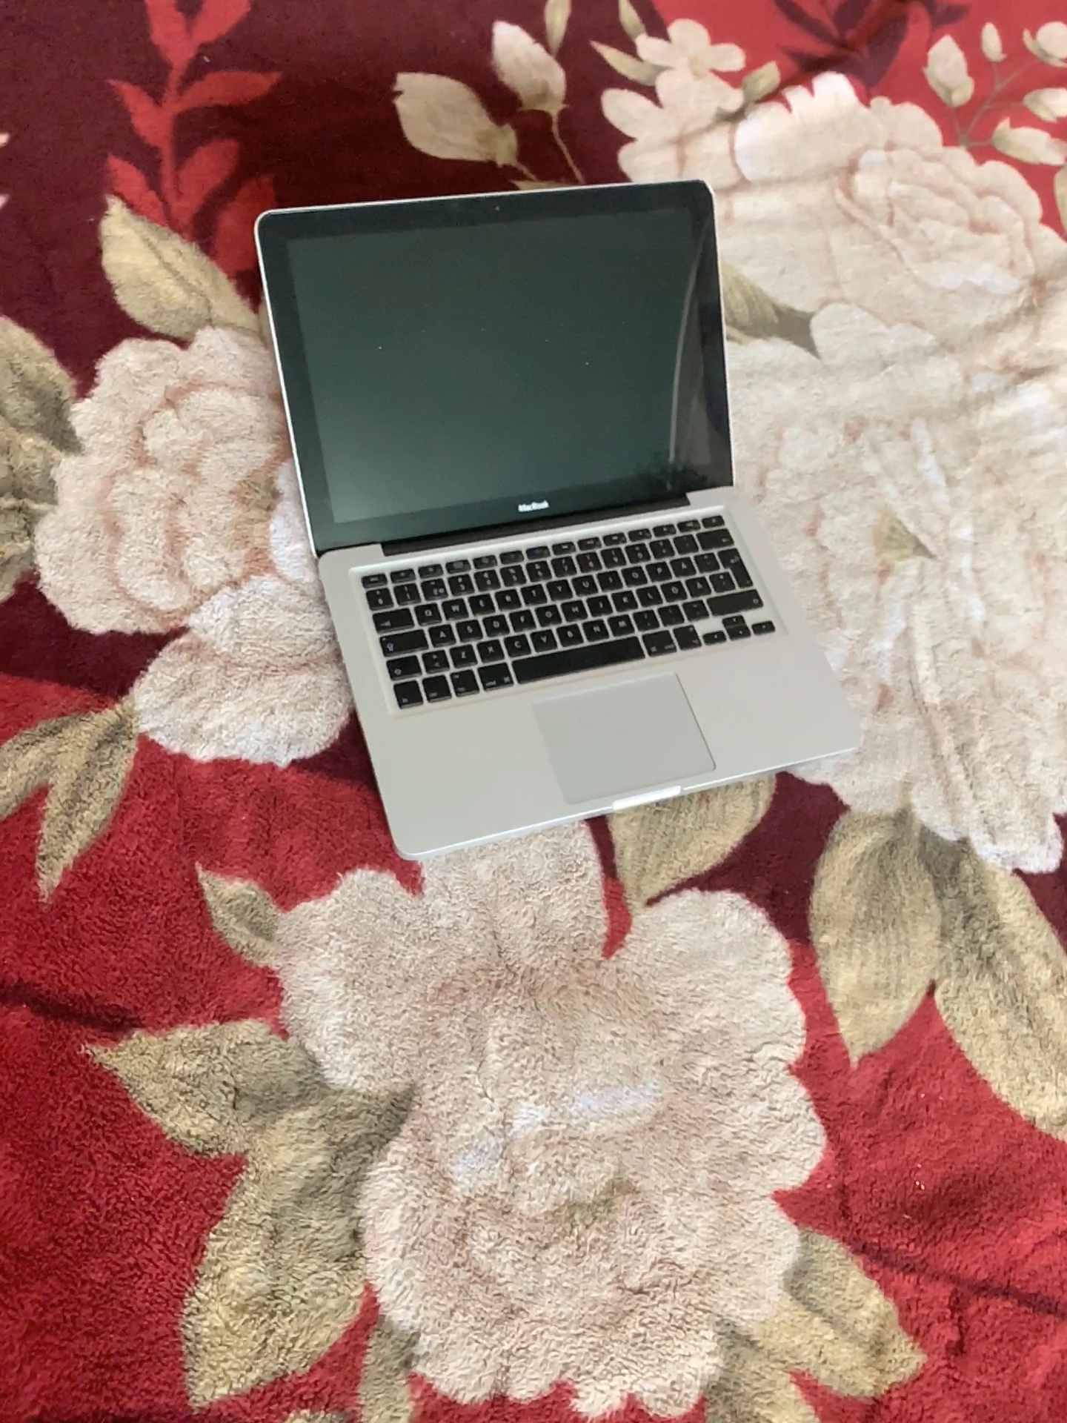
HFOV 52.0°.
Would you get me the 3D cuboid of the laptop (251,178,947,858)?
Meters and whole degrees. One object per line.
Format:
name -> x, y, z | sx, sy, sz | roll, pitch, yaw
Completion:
laptop -> 0.022, -0.143, 0.708 | 0.317, 0.116, 0.388 | -13, 69, -15
